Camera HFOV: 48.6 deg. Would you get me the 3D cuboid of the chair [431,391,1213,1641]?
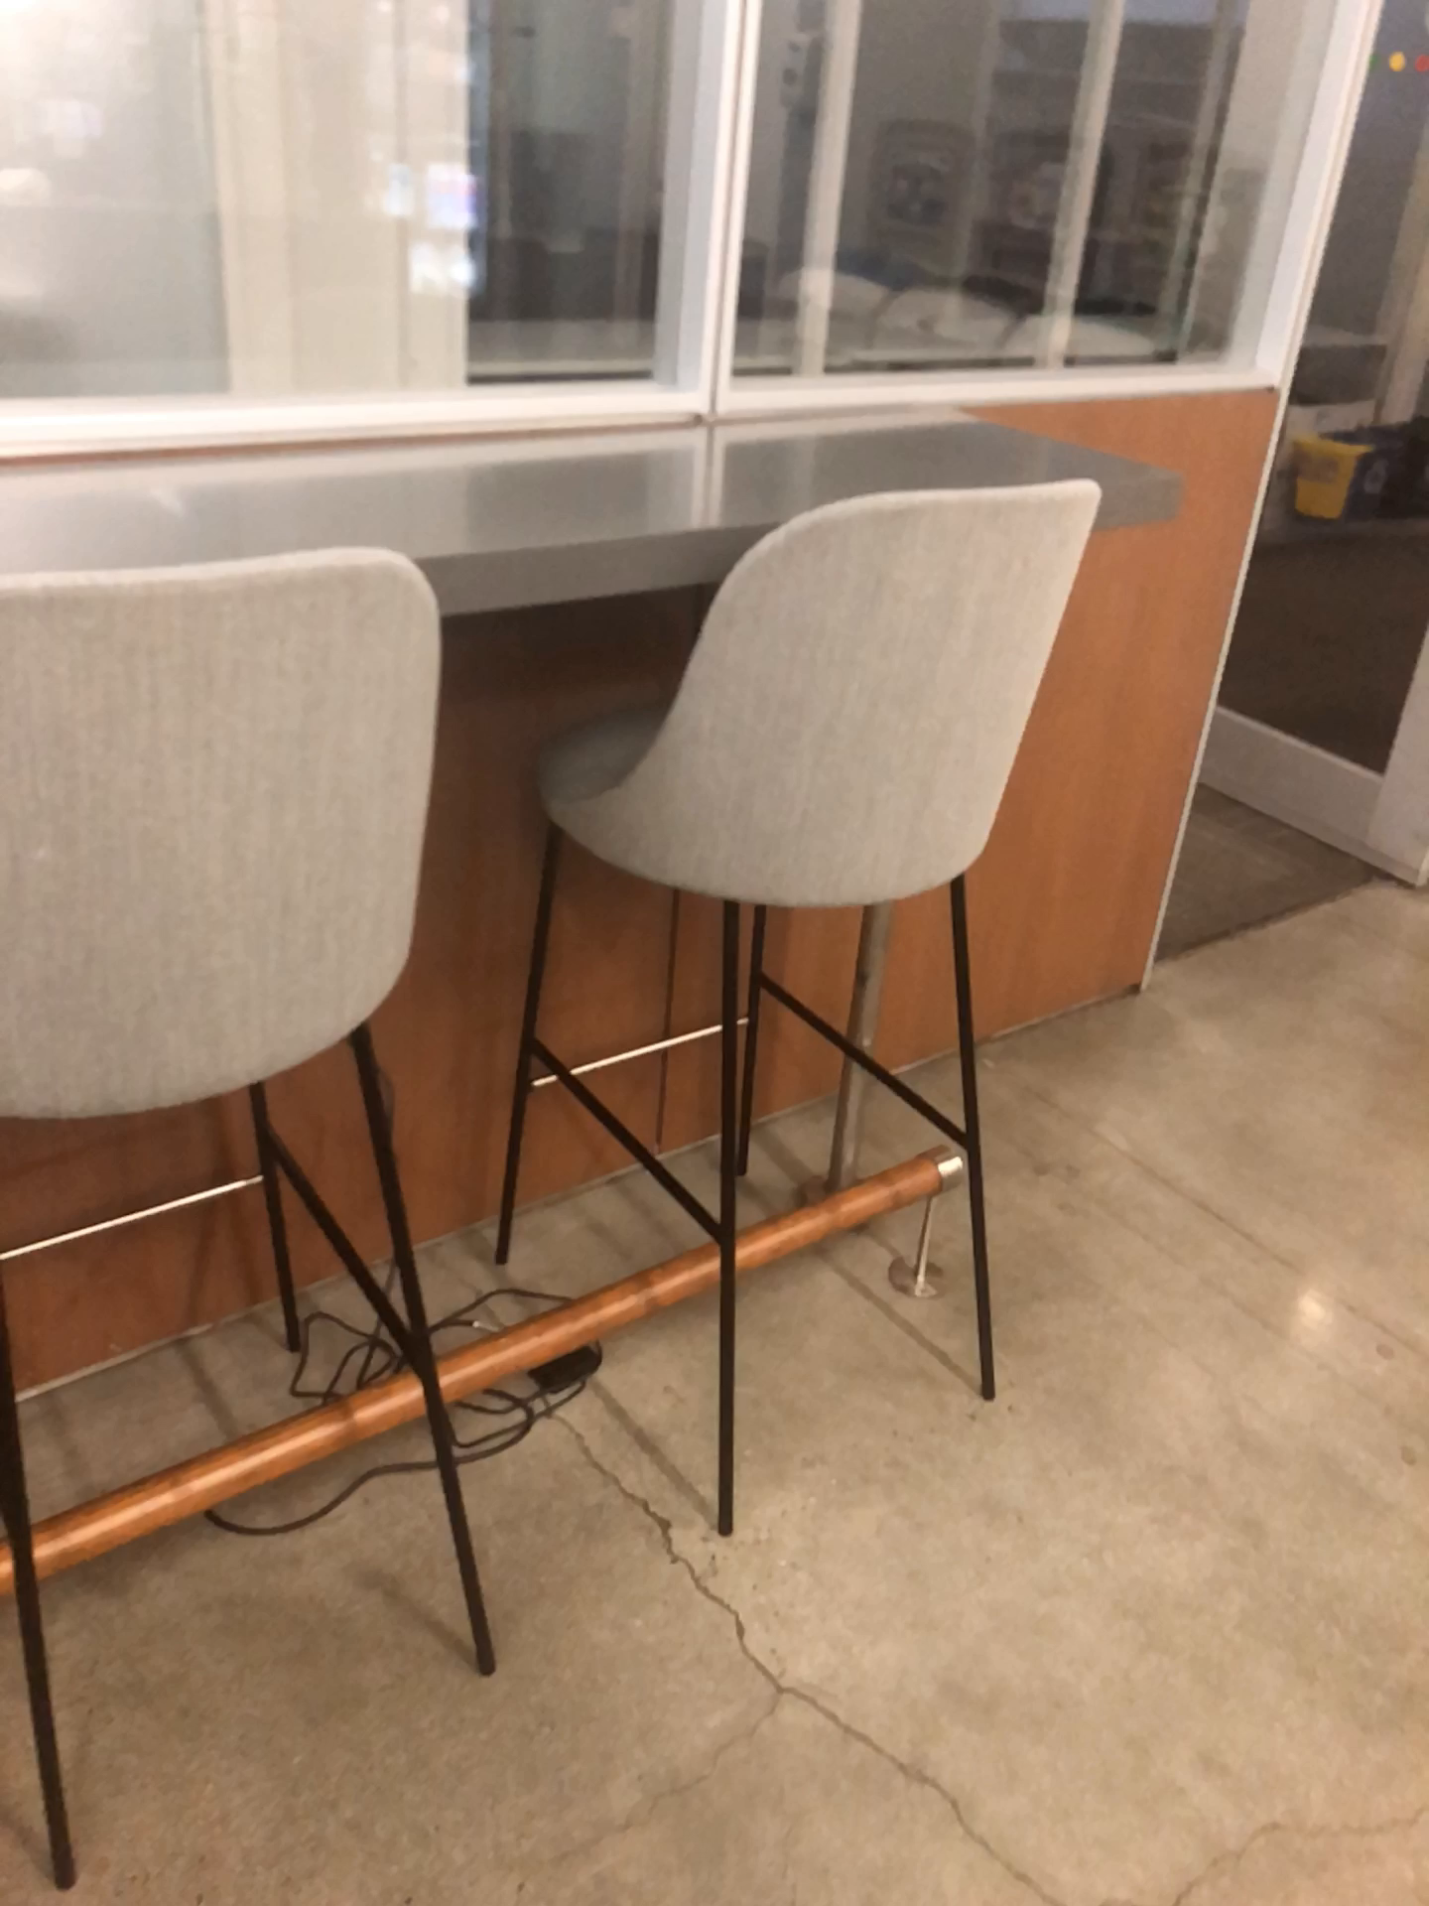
[{"bbox_3d":[0.039,0.044,1.781,0.492,1.181,0.592,-14,33,-32],"label":"chair"}]
